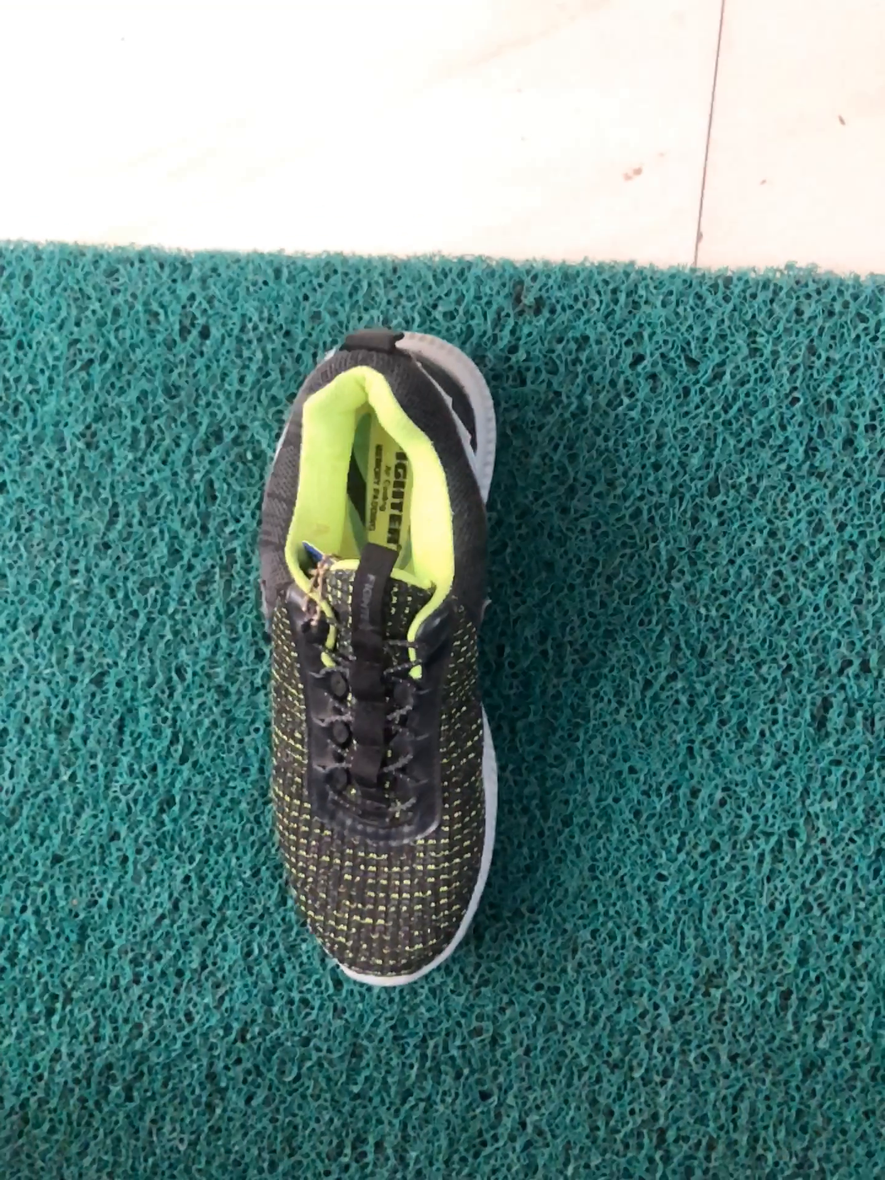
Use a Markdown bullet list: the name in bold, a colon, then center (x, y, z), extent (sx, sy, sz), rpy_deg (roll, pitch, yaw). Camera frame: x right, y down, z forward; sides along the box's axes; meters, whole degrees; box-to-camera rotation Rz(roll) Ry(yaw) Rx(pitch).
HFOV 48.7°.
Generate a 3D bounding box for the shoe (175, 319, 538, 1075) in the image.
- **shoe**: center (-0.029, 0.036, 0.406), extent (0.110, 0.090, 0.270), rpy_deg (4, 89, 10)
